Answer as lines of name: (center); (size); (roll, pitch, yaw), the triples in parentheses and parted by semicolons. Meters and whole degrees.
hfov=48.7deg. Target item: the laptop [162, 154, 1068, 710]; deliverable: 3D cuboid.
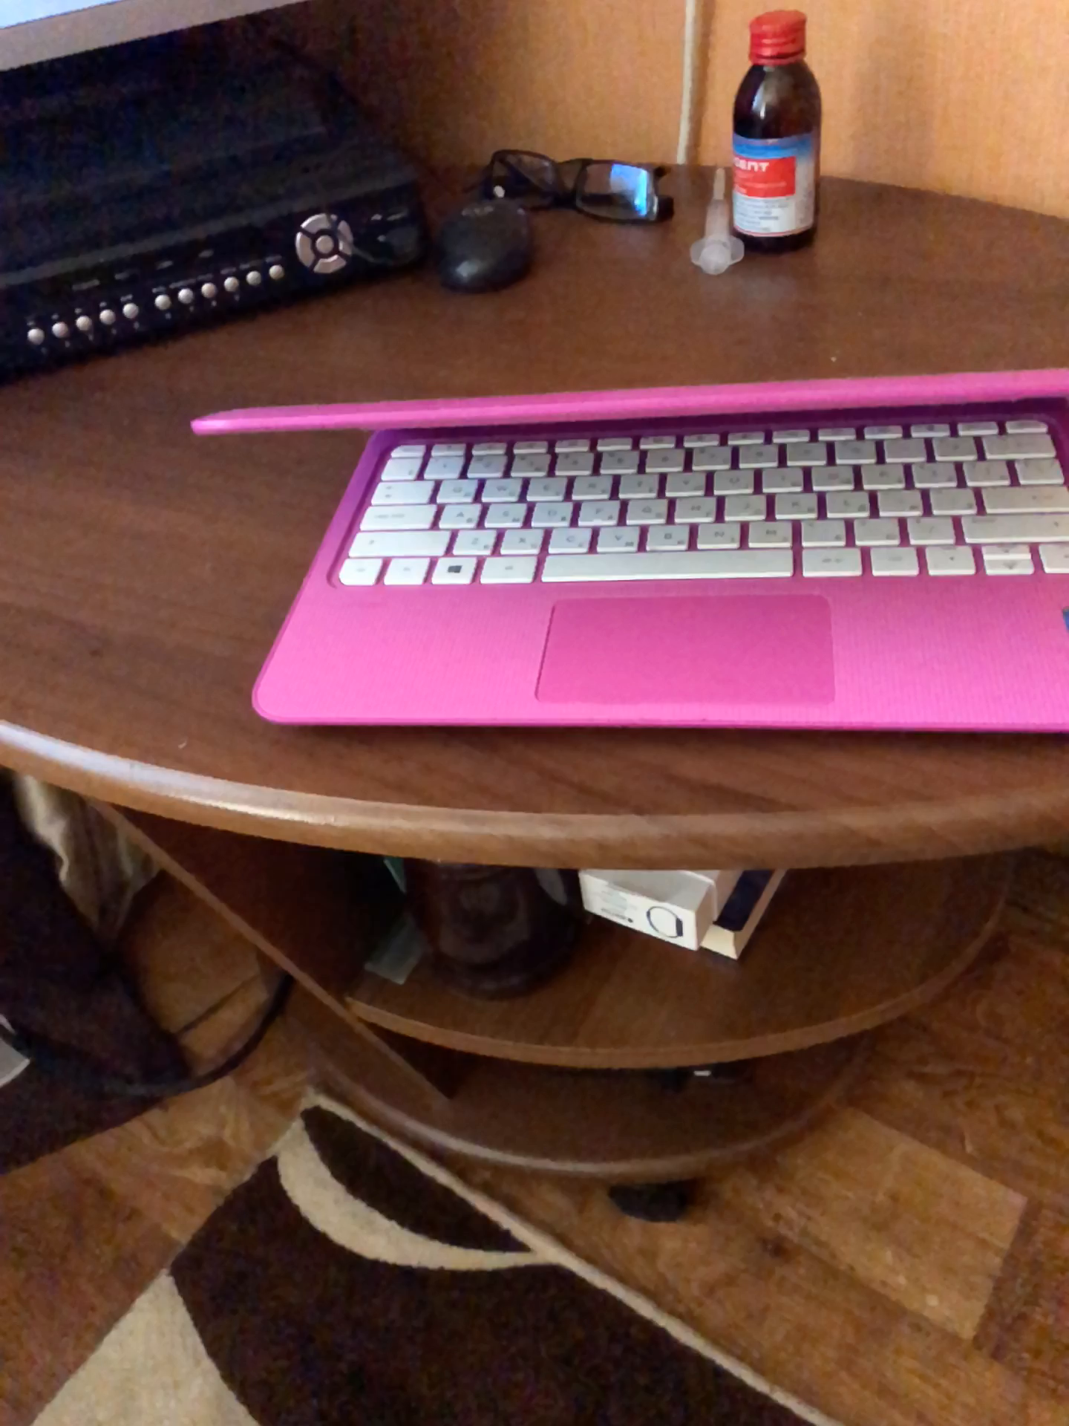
laptop: (0.049, -0.094, 0.380); (0.264, 0.081, 0.187); (0, 43, 11)
